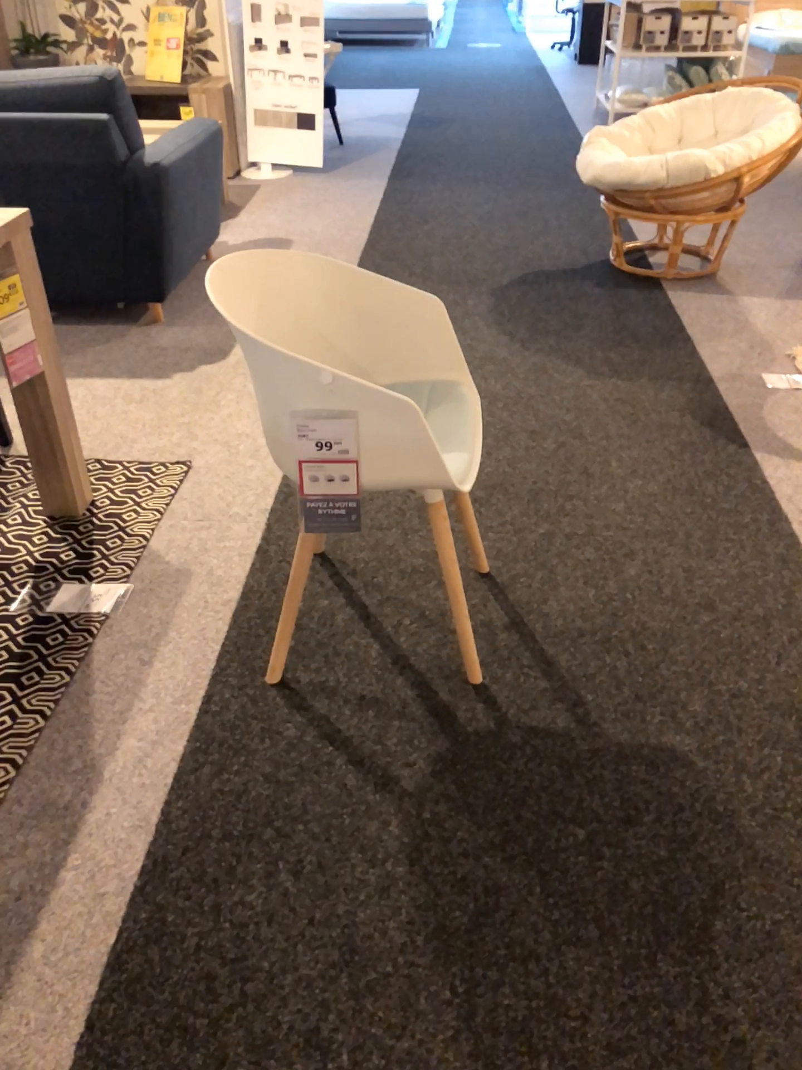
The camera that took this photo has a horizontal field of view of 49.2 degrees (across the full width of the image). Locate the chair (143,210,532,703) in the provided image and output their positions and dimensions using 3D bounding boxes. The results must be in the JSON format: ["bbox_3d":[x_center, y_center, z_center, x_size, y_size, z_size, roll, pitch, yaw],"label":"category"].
[{"bbox_3d":[-0.064,-0.168,1.730,0.580,0.765,0.554,4,34,6],"label":"chair"}]
